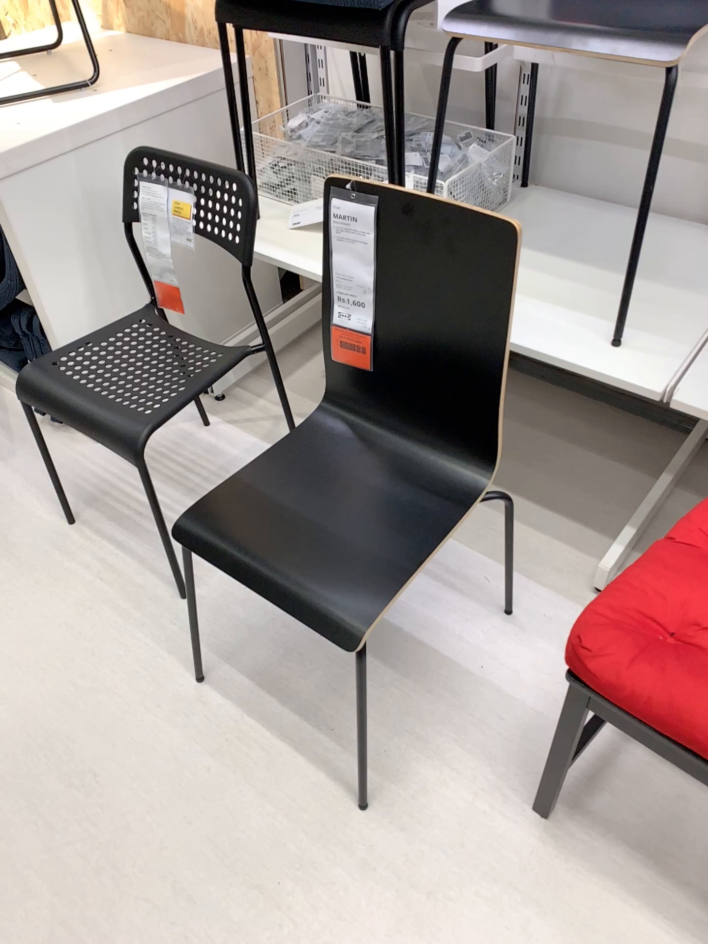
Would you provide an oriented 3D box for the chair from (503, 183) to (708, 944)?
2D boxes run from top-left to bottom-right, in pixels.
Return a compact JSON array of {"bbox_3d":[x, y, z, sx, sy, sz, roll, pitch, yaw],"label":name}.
[{"bbox_3d":[0.549,0.200,0.897,0.451,0.857,0.481,28,53,29],"label":"chair"}]

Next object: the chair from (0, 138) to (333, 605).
[{"bbox_3d":[-0.420,-0.217,1.555,0.471,0.727,0.531,27,52,28],"label":"chair"}]

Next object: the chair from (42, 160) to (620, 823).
[{"bbox_3d":[0.012,0.042,1.212,0.481,0.827,0.591,27,53,28],"label":"chair"}]
